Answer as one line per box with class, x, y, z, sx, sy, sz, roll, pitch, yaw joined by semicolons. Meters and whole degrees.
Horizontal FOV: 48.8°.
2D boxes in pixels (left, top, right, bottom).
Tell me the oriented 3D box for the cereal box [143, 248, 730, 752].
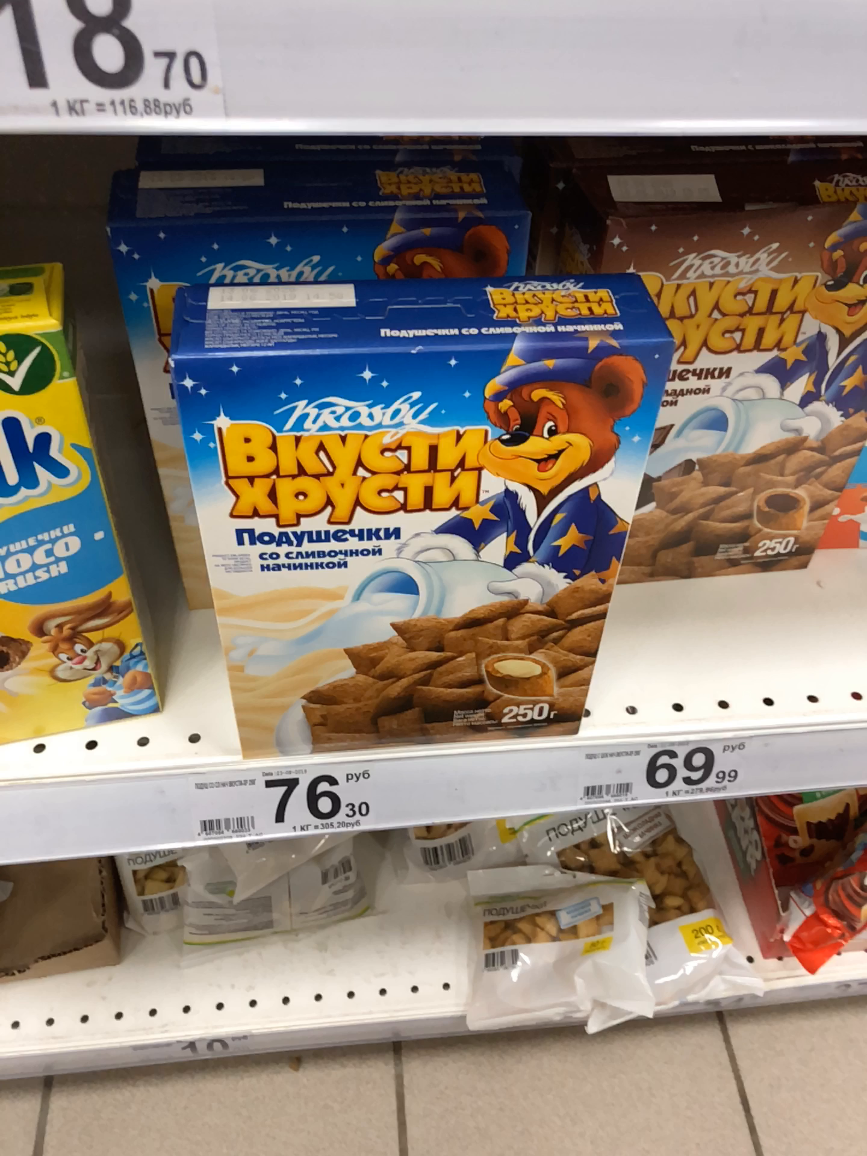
cereal box;-0.004;-0.019;0.406;0.190;0.229;0.050;-3;46;-6
